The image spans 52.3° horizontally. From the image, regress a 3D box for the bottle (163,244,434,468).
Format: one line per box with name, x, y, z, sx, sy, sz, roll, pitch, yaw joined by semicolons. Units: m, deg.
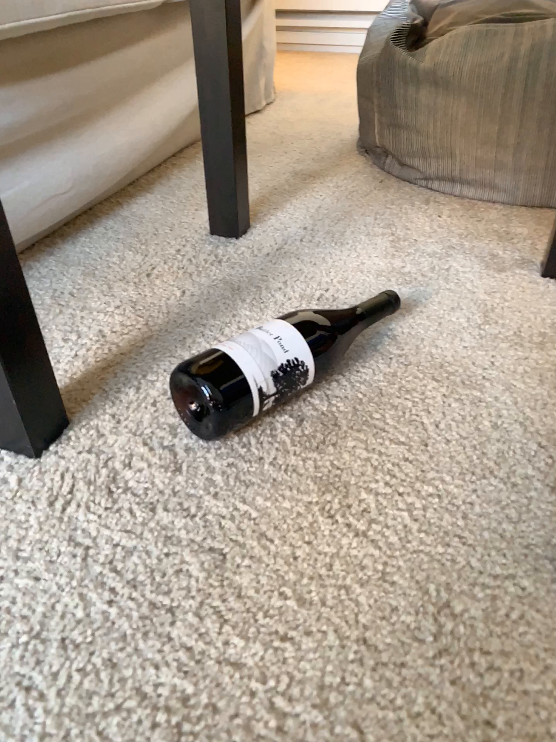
bottle;0.026;-0.026;0.567;0.281;0.080;0.080;-31;65;-30
